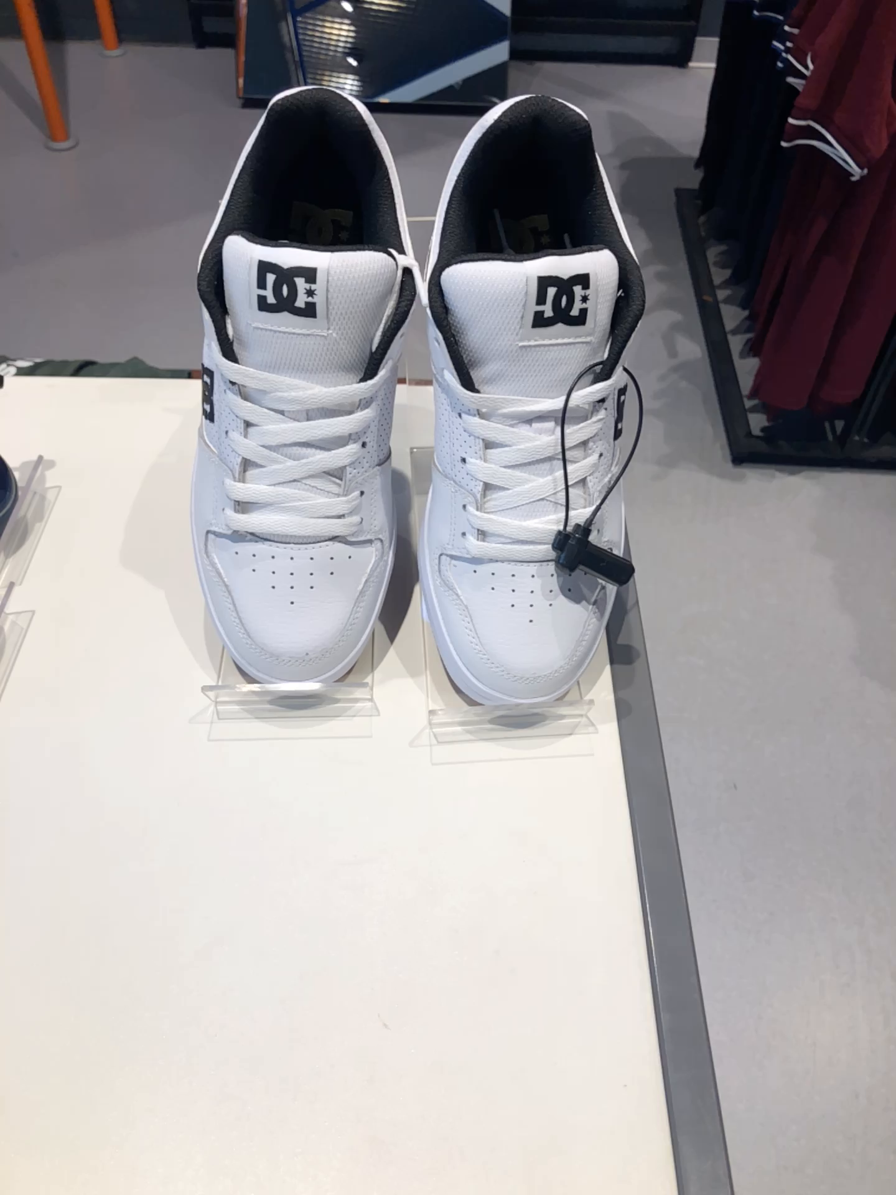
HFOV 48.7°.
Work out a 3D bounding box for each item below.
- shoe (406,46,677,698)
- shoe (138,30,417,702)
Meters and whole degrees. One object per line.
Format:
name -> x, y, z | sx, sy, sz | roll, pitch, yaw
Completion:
shoe -> 0.033, -0.091, 0.443 | 0.095, 0.249, 0.102 | 0, 10, -6
shoe -> -0.073, -0.095, 0.450 | 0.103, 0.259, 0.102 | 3, 11, -1
